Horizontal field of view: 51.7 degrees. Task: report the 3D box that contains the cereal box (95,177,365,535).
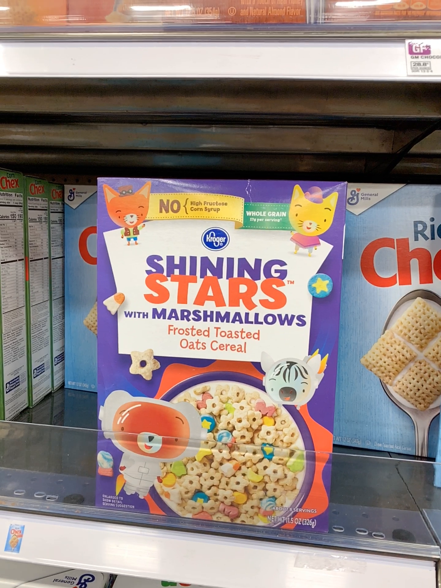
[{"bbox_3d":[0.004,0.046,0.374,0.200,0.270,0.050,2,5,5],"label":"cereal box"}]
